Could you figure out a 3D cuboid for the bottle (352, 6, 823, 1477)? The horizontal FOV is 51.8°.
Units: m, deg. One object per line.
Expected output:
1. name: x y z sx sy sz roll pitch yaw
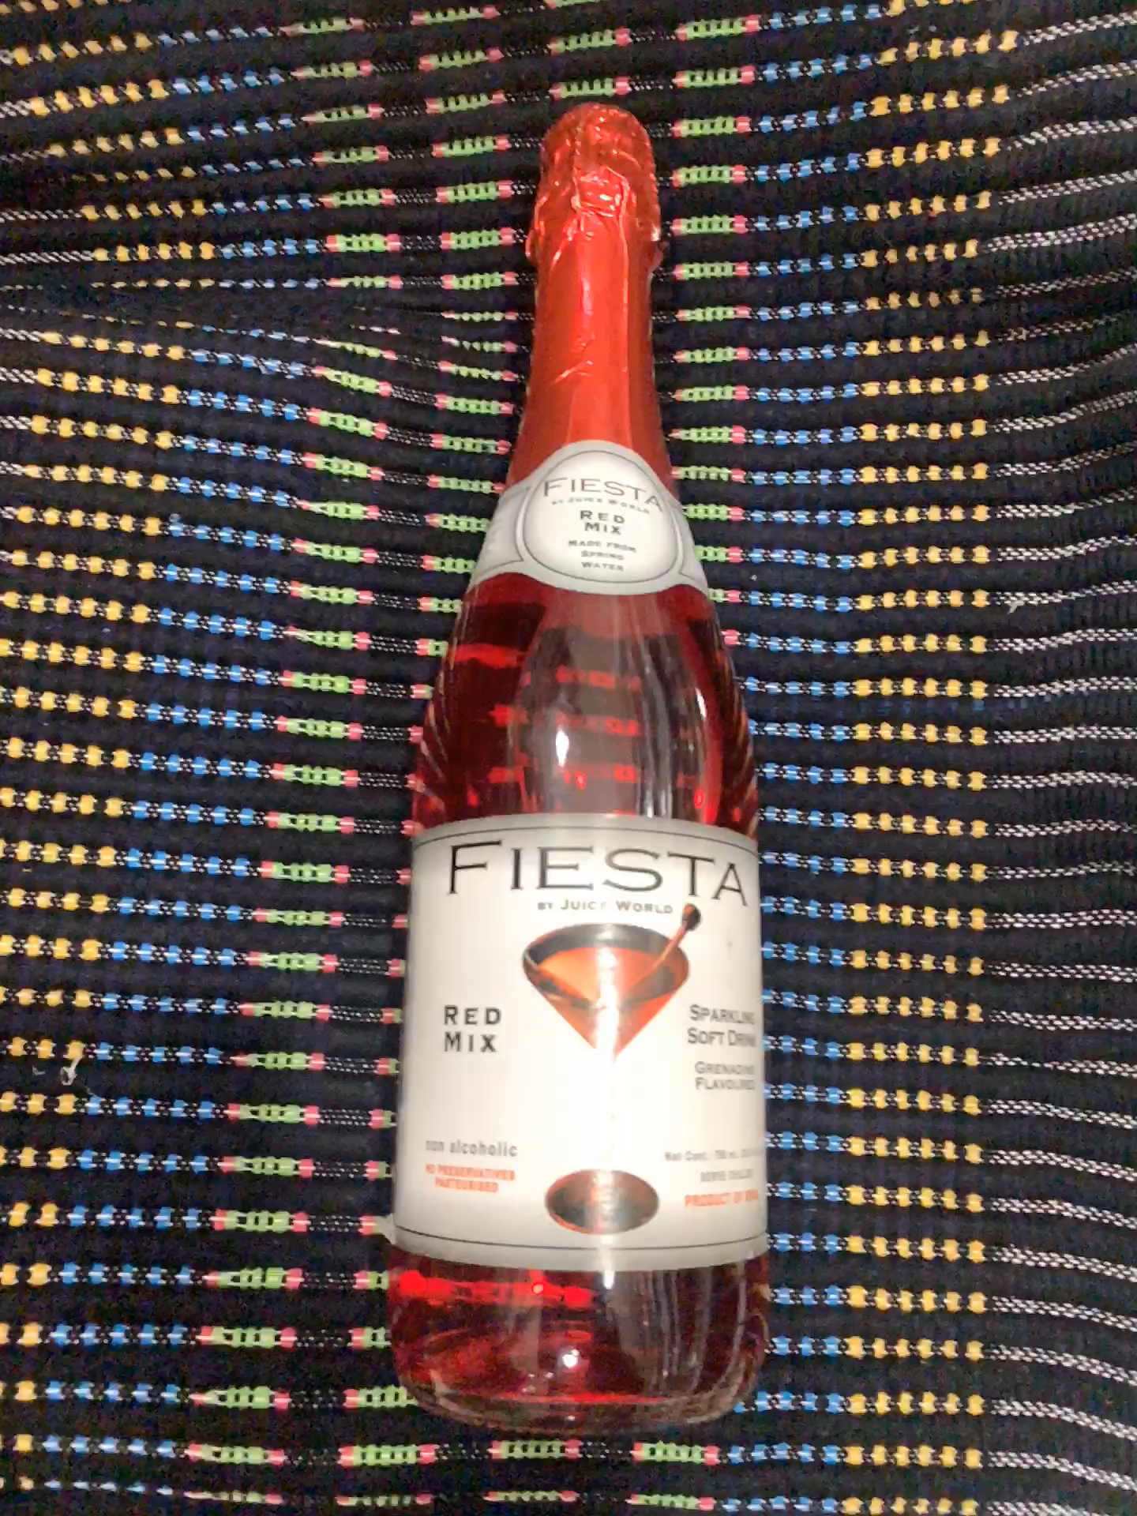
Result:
1. bottle: 0.003 -0.019 0.273 0.080 0.070 0.310 2 74 -4
